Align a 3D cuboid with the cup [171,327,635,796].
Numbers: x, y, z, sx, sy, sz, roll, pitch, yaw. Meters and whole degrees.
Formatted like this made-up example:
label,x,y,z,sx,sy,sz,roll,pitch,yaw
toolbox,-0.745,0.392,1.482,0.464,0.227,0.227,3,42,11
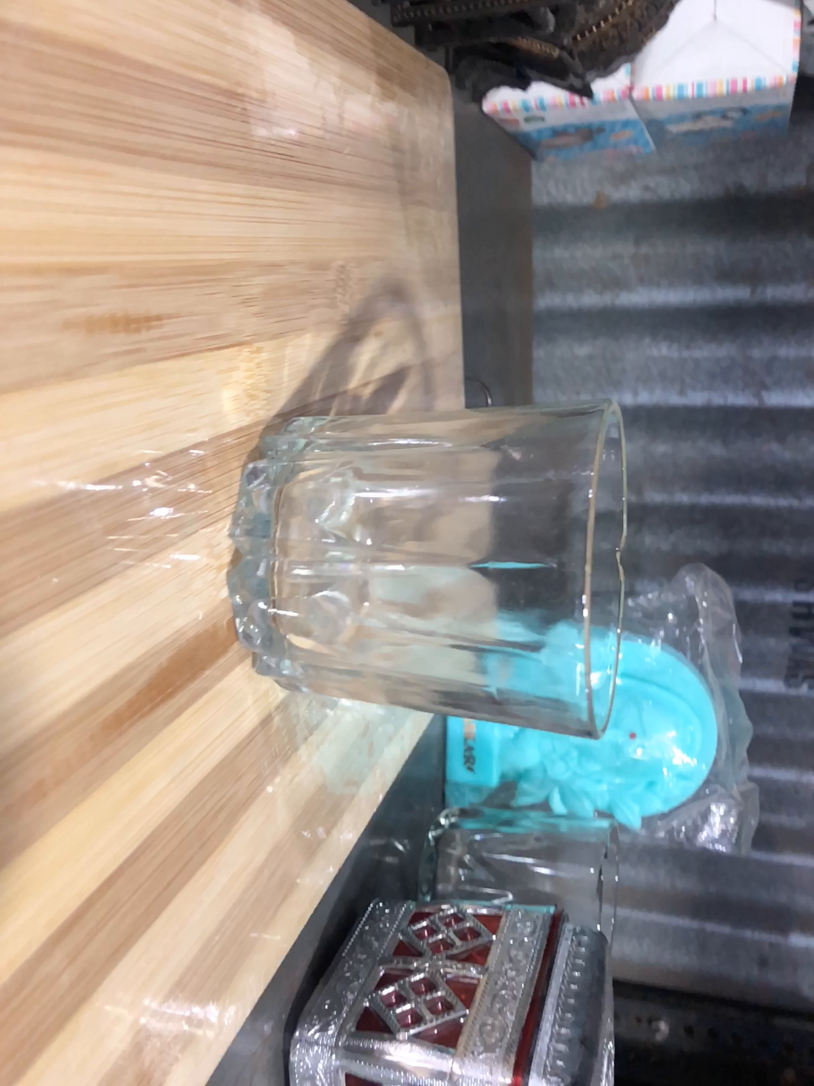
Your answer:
label,x,y,z,sx,sy,sz,roll,pitch,yaw
cup,0.009,0.008,0.214,0.080,0.080,0.080,2,90,-74
